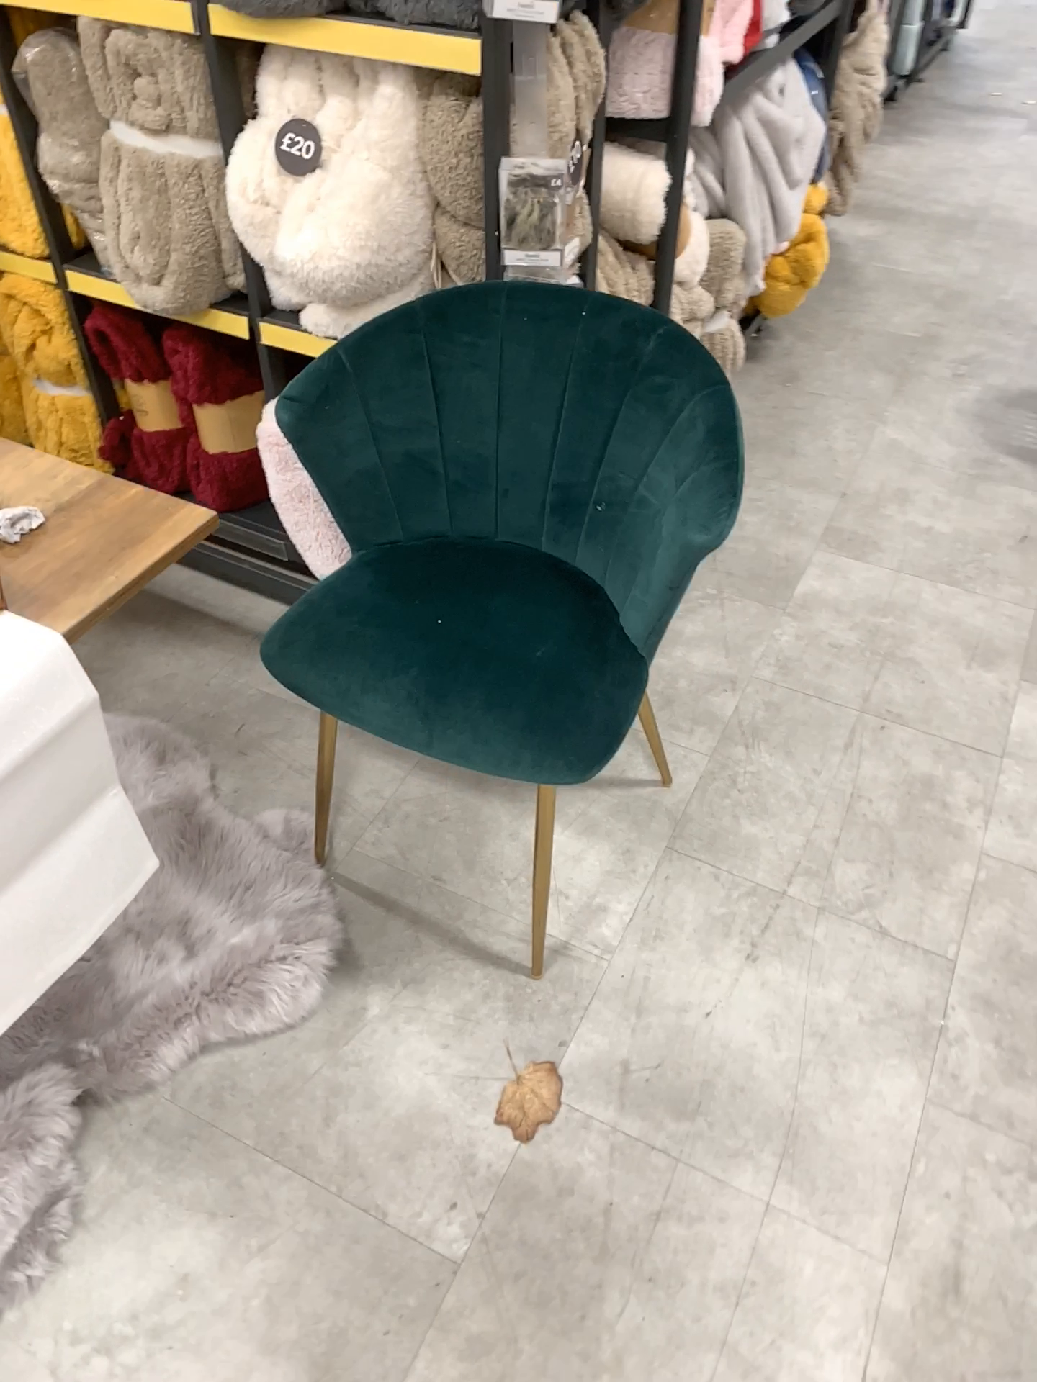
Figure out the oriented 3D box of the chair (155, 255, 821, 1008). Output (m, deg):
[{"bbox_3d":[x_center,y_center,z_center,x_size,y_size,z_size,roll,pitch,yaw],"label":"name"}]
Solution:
[{"bbox_3d":[-0.005,-0.095,1.424,0.548,0.692,0.573,20,47,20],"label":"chair"}]
